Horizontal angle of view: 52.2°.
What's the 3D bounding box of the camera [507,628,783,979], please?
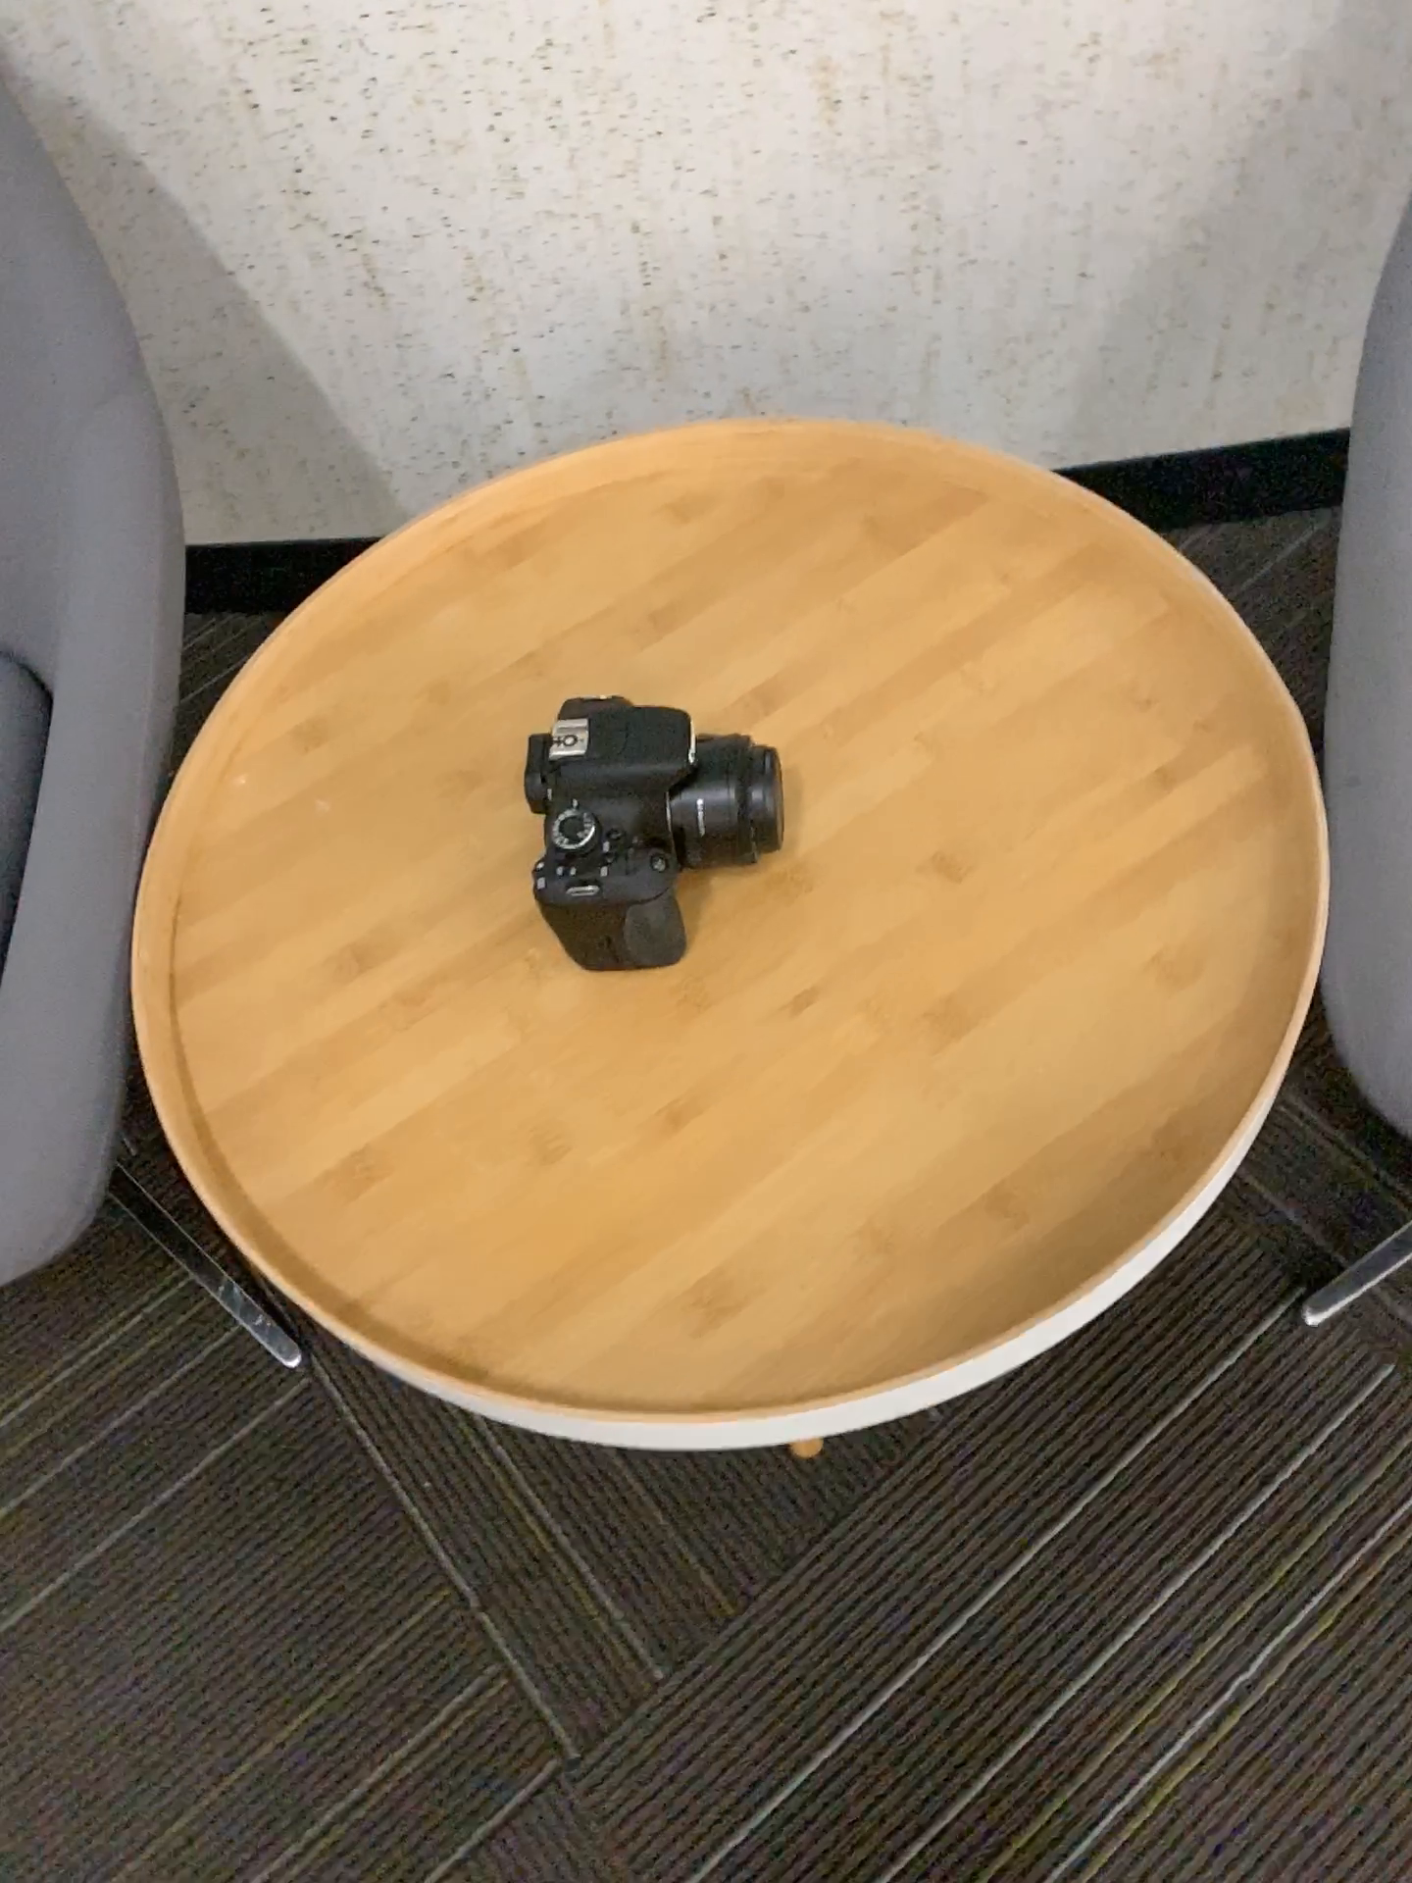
[{"bbox_3d":[-0.026,-0.067,0.722,0.117,0.100,0.134,-4,60,7],"label":"camera"}]
